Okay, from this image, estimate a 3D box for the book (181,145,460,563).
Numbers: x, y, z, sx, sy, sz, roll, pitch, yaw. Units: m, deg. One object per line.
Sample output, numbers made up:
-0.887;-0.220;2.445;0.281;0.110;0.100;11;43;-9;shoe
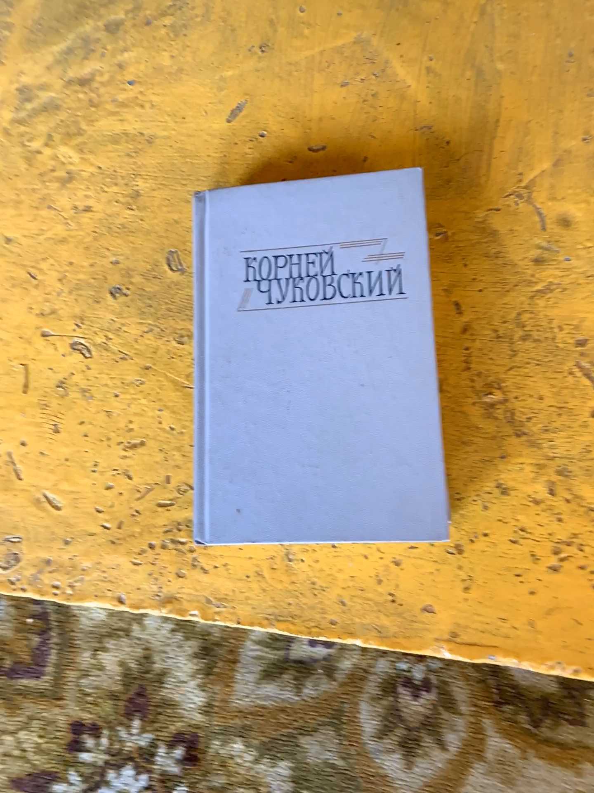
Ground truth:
0.008;-0.023;0.336;0.139;0.031;0.216;-4;79;9;book
